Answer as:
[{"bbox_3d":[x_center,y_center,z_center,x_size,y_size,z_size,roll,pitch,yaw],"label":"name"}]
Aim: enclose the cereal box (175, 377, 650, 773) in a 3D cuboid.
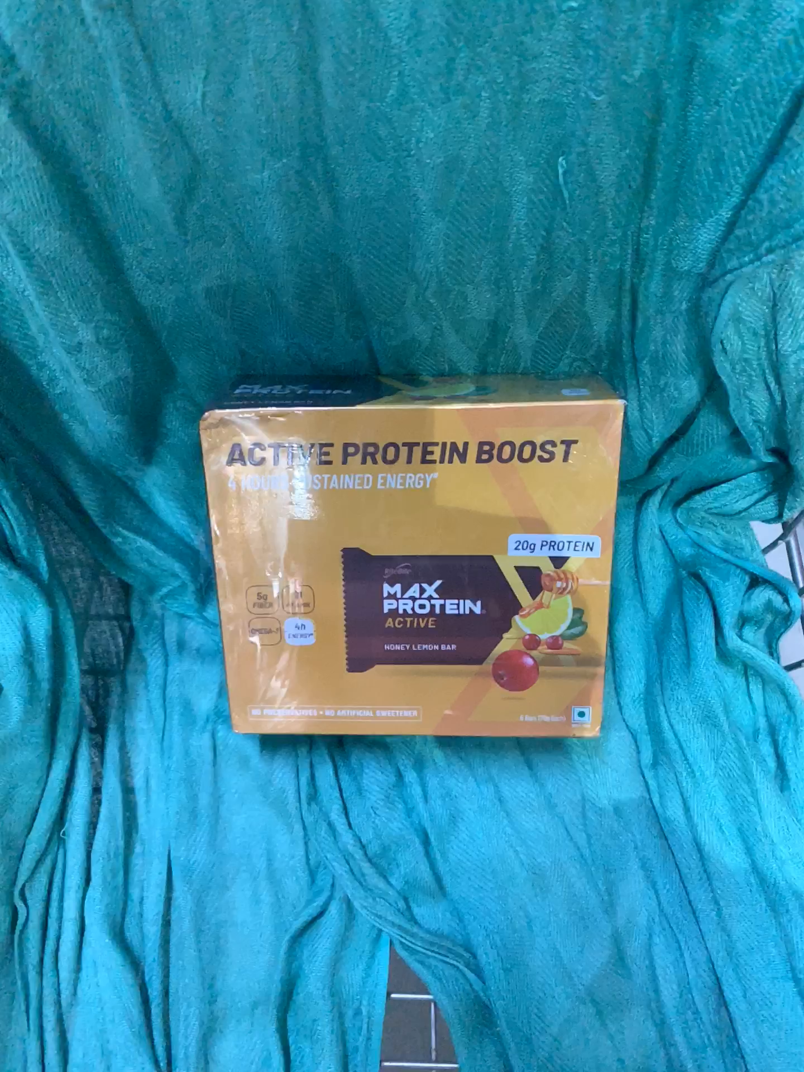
[{"bbox_3d":[0.007,0.013,0.337,0.160,0.080,0.140,-1,107,4],"label":"cereal box"}]
